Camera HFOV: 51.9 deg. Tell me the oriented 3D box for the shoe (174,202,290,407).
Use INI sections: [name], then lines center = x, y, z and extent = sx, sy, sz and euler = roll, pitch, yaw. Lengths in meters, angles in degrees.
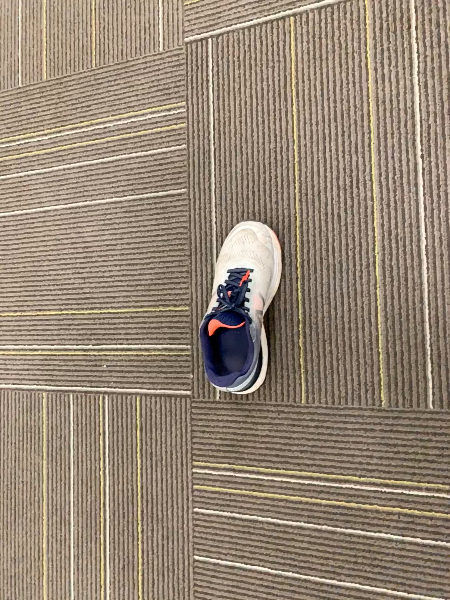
[shoe]
center = 0.013, 0.003, 0.720
extent = 0.130, 0.080, 0.290
euler = 6, 90, 21
